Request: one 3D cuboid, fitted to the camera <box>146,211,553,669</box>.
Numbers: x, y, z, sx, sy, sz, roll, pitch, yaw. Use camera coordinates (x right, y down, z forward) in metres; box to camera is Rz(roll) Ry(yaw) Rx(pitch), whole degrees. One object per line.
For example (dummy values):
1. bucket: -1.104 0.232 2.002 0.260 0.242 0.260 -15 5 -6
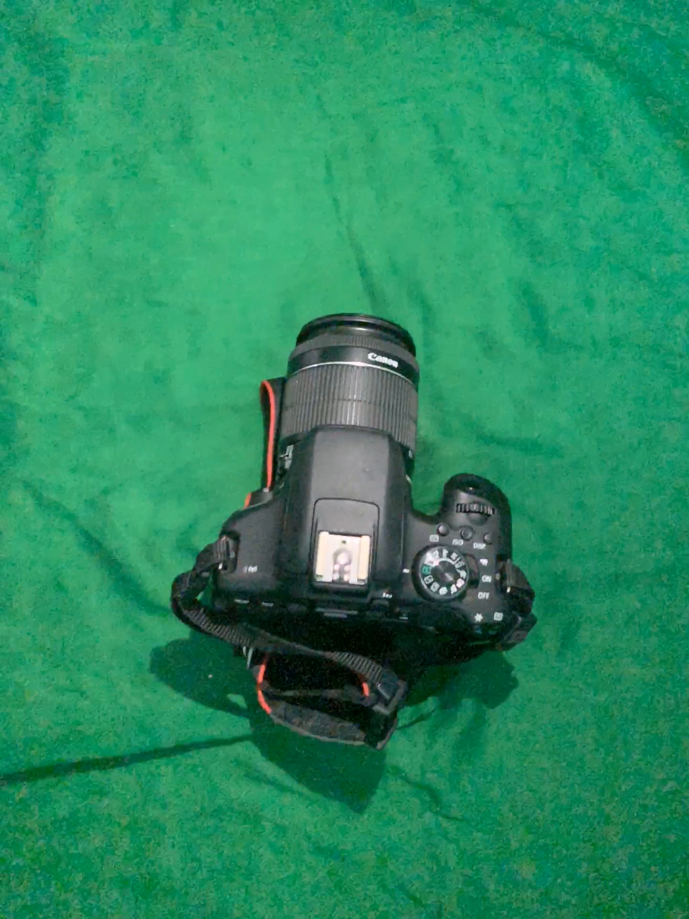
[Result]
1. camera: 0.005 -0.004 0.337 0.152 0.100 0.191 1 76 3
